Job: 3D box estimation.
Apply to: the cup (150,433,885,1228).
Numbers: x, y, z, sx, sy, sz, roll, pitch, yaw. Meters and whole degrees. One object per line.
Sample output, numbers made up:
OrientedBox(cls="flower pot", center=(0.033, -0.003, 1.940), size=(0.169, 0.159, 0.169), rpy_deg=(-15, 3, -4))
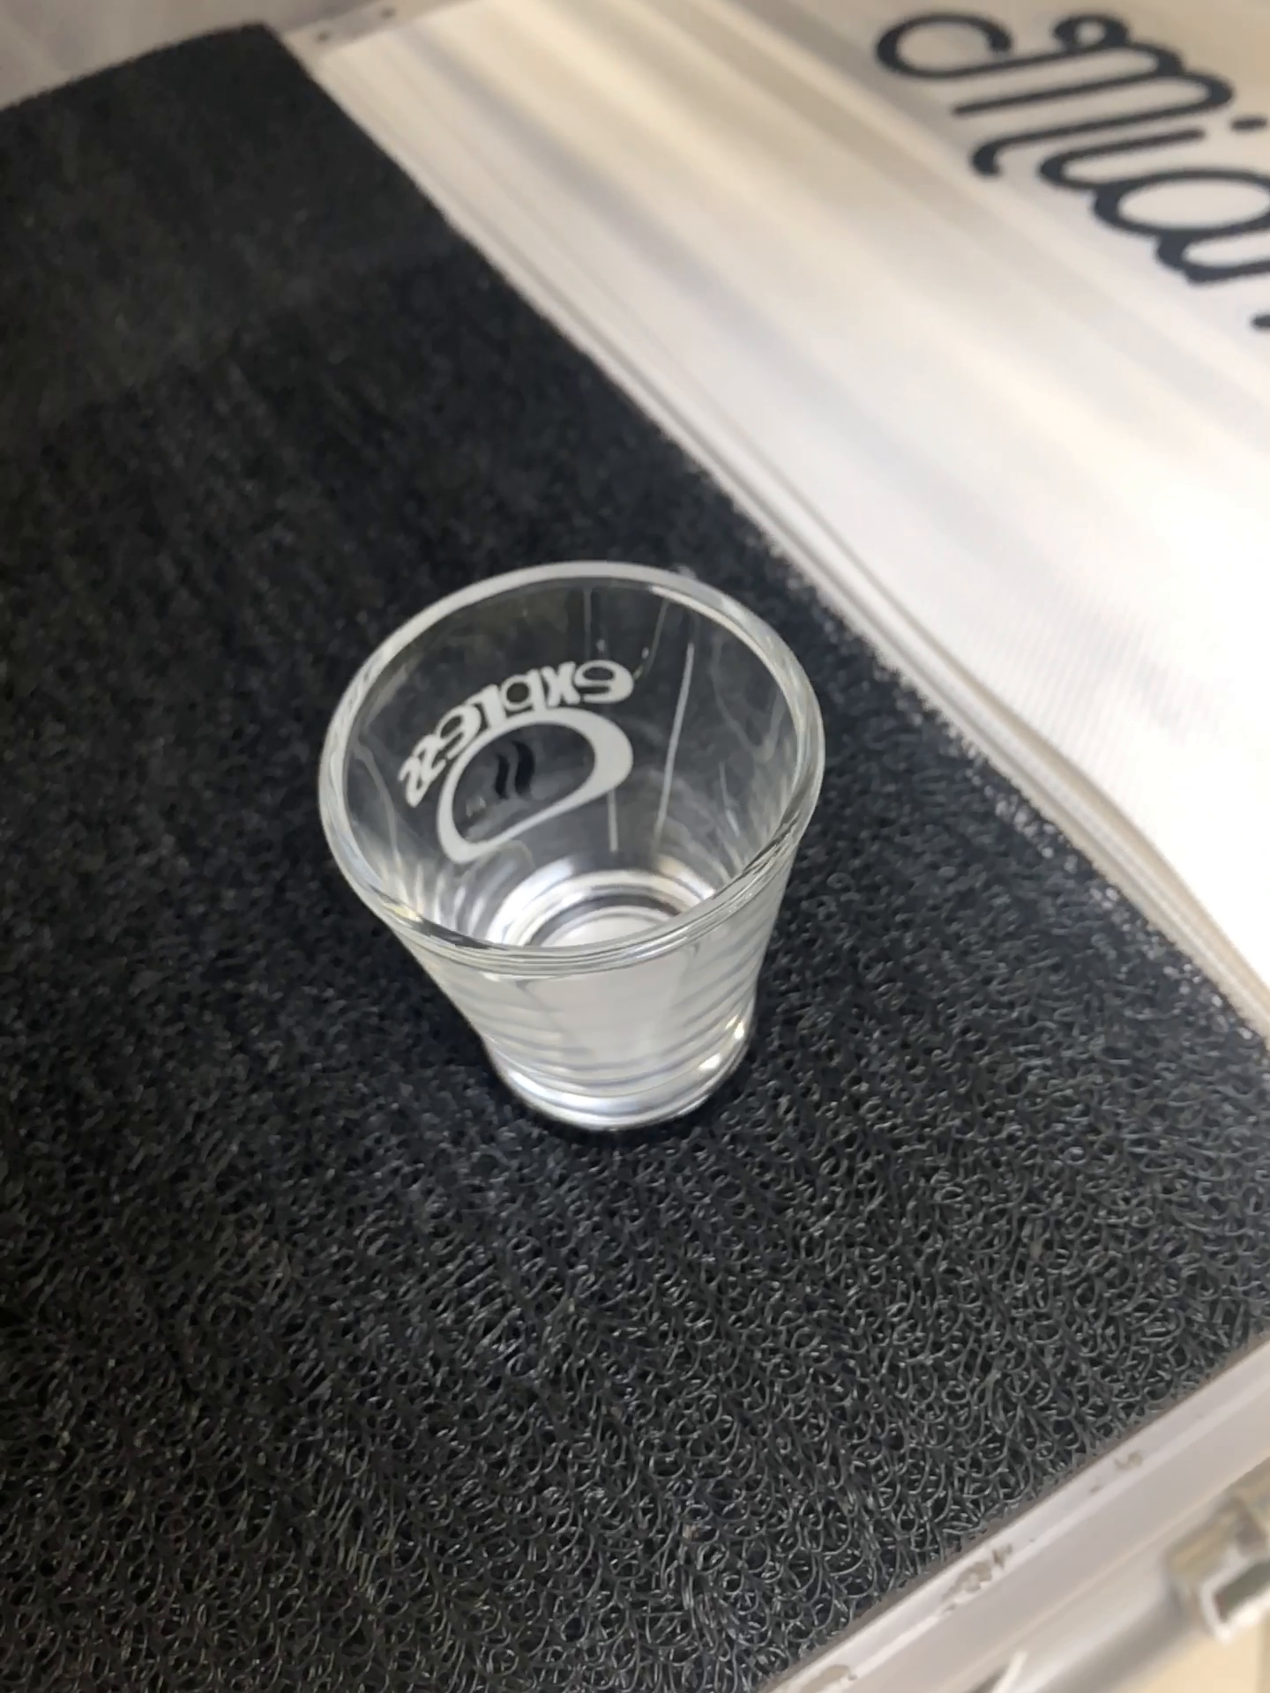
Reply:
OrientedBox(cls="cup", center=(-0.006, -0.004, 0.196), size=(0.073, 0.059, 0.087), rpy_deg=(4, 56, 12))
